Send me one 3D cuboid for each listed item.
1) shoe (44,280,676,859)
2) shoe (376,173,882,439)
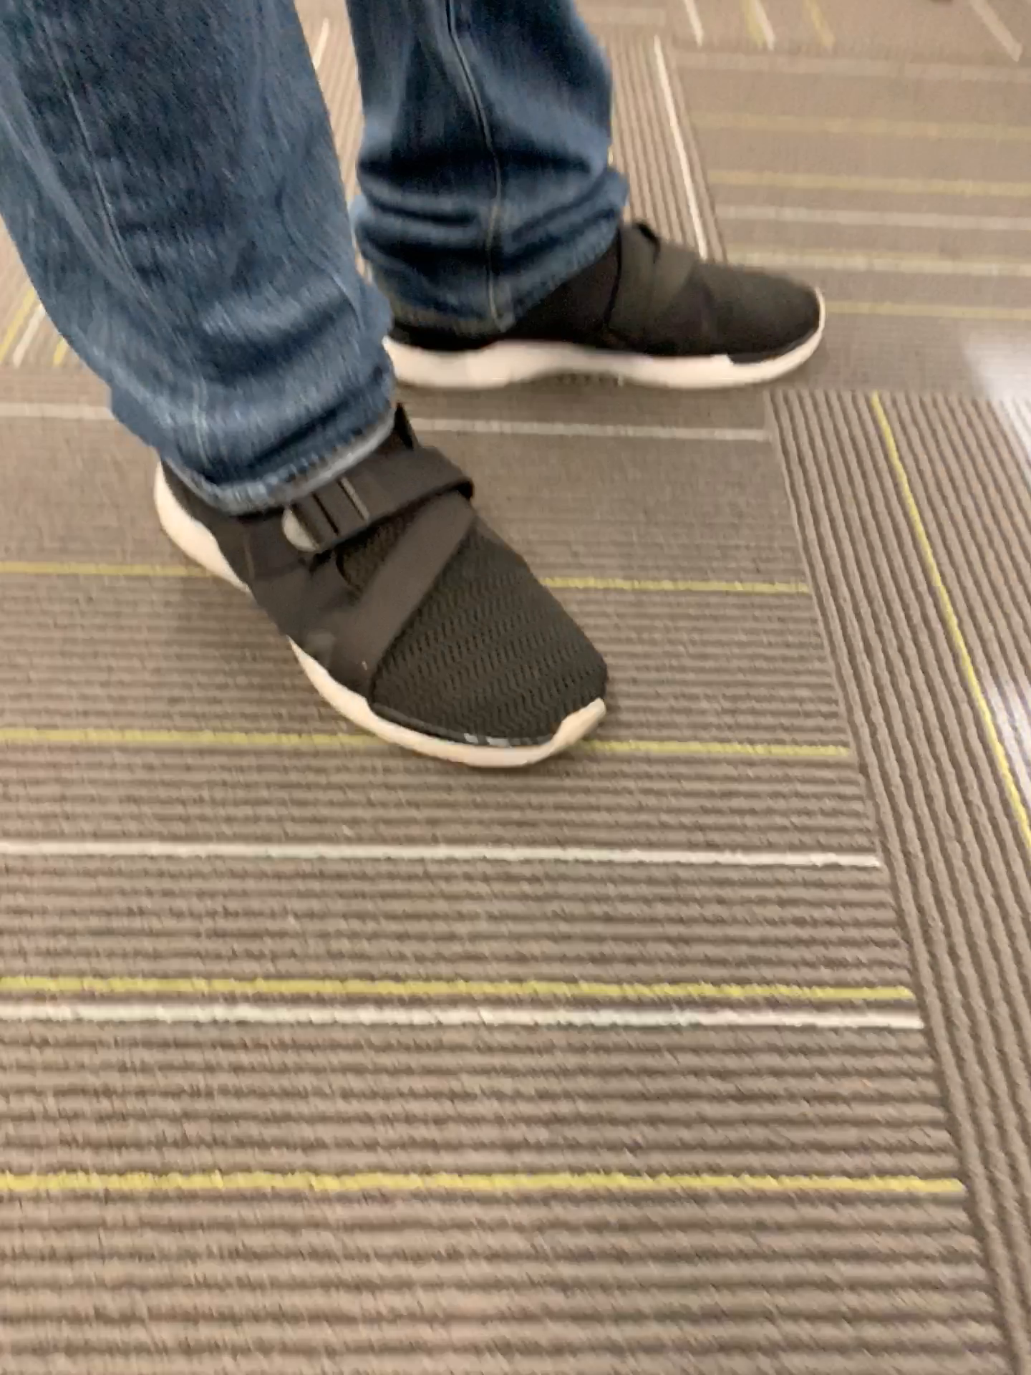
[{"bbox_3d":[-0.084,-0.073,0.530,0.301,0.110,0.120,37,57,25],"label":"shoe"},{"bbox_3d":[0.063,-0.252,0.709,0.300,0.120,0.120,-1,50,-4],"label":"shoe"}]
